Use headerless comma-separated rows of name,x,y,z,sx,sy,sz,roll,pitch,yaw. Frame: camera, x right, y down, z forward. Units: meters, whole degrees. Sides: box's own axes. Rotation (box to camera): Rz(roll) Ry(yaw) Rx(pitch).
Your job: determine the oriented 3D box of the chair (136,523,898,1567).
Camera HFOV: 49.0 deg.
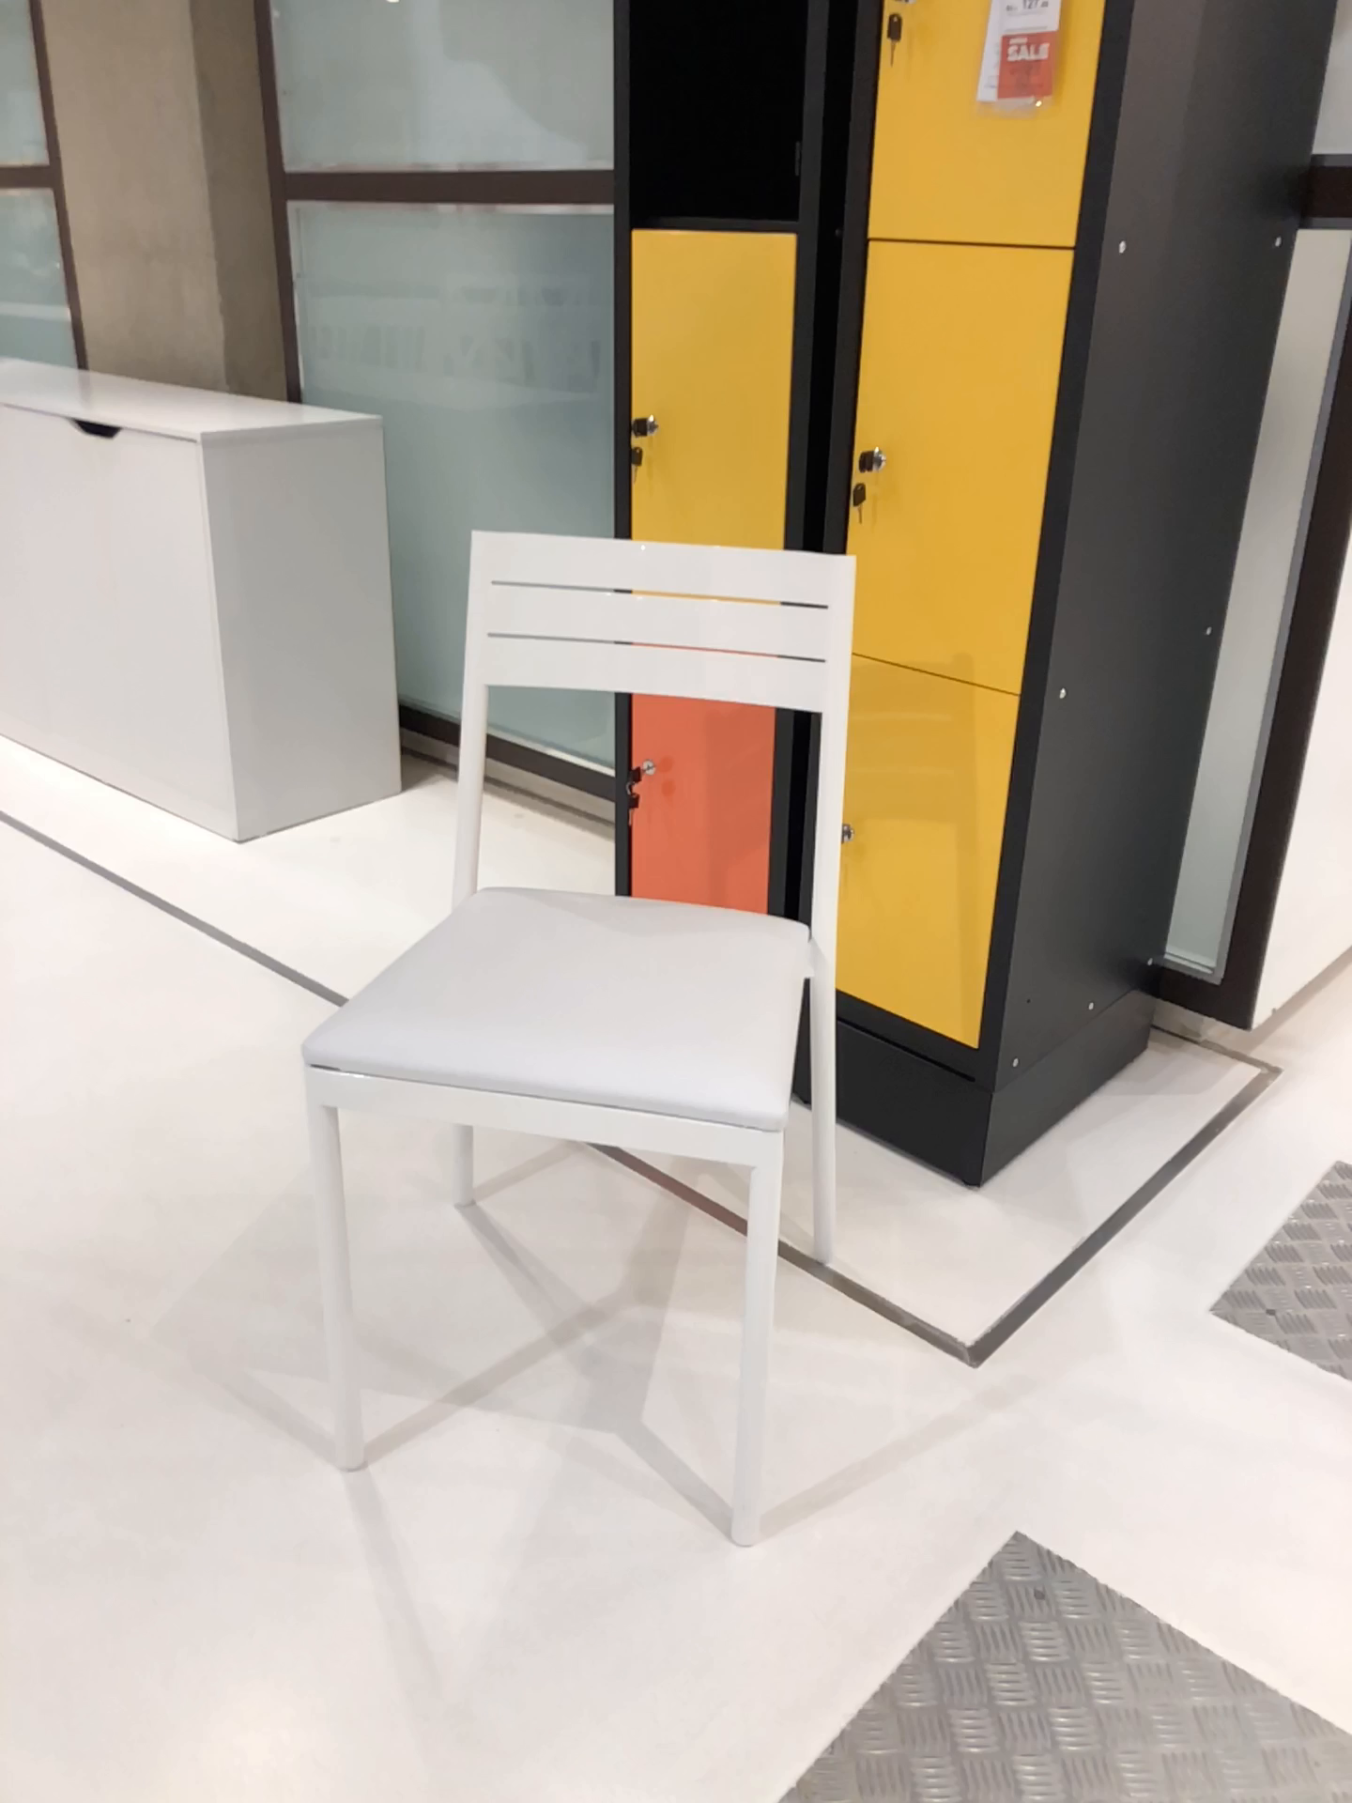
chair,-0.088,0.085,1.371,0.480,0.735,0.534,6,25,12
